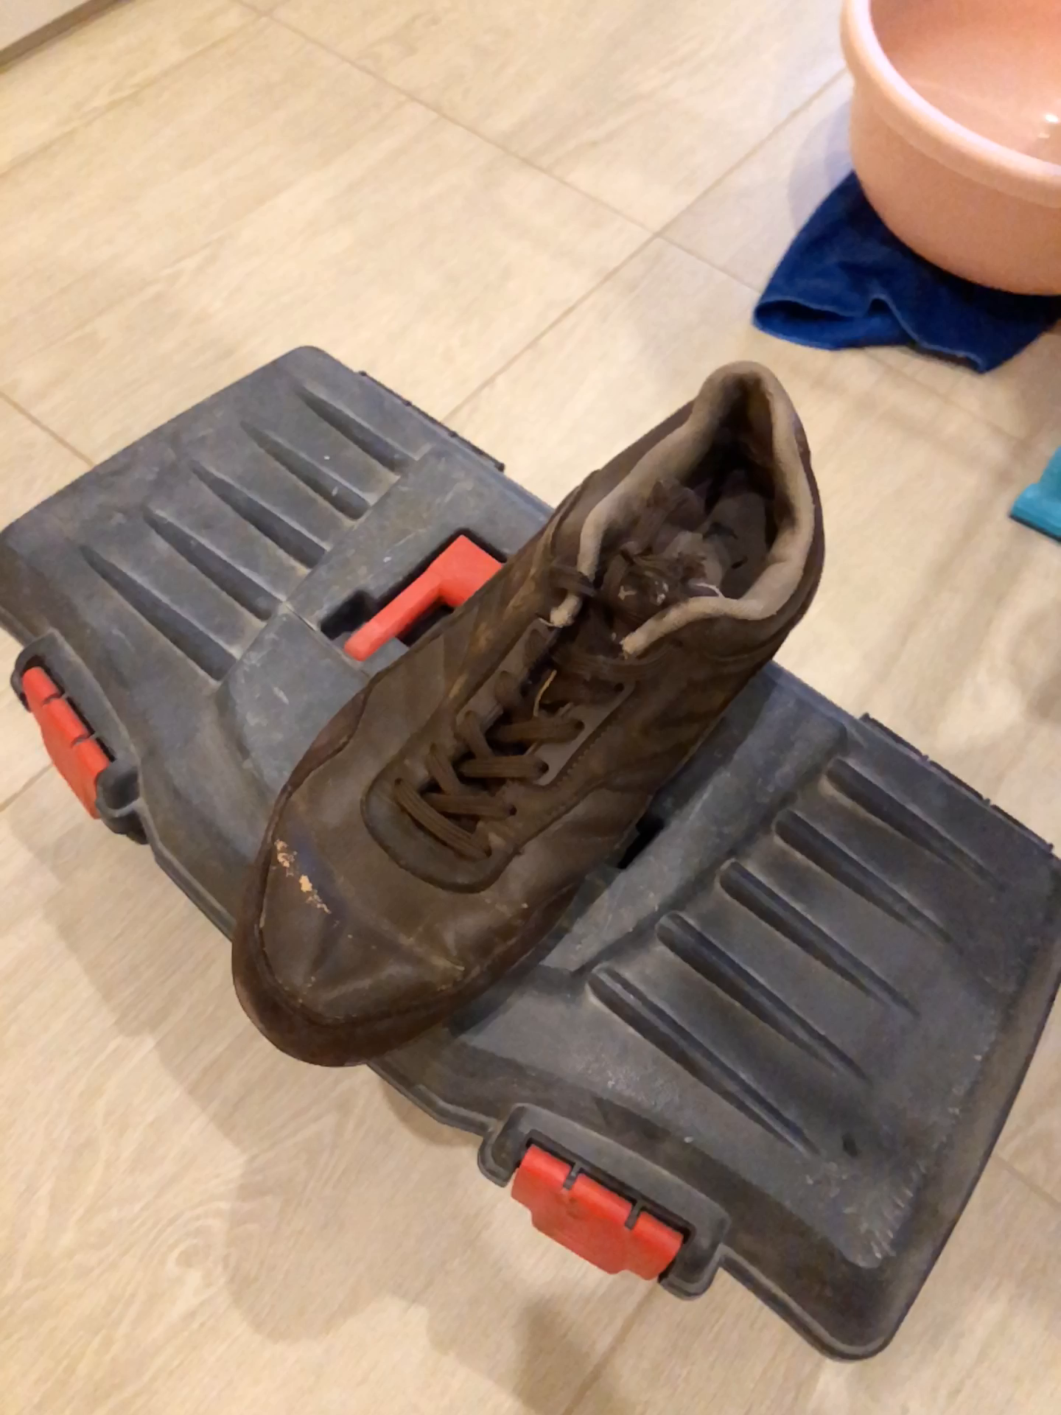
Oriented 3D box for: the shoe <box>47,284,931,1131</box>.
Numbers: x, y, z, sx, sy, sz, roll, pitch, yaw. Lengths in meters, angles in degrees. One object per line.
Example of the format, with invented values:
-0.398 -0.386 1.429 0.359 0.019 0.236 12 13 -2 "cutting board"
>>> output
-0.001 -0.009 0.405 0.110 0.100 0.281 39 67 18 "shoe"
